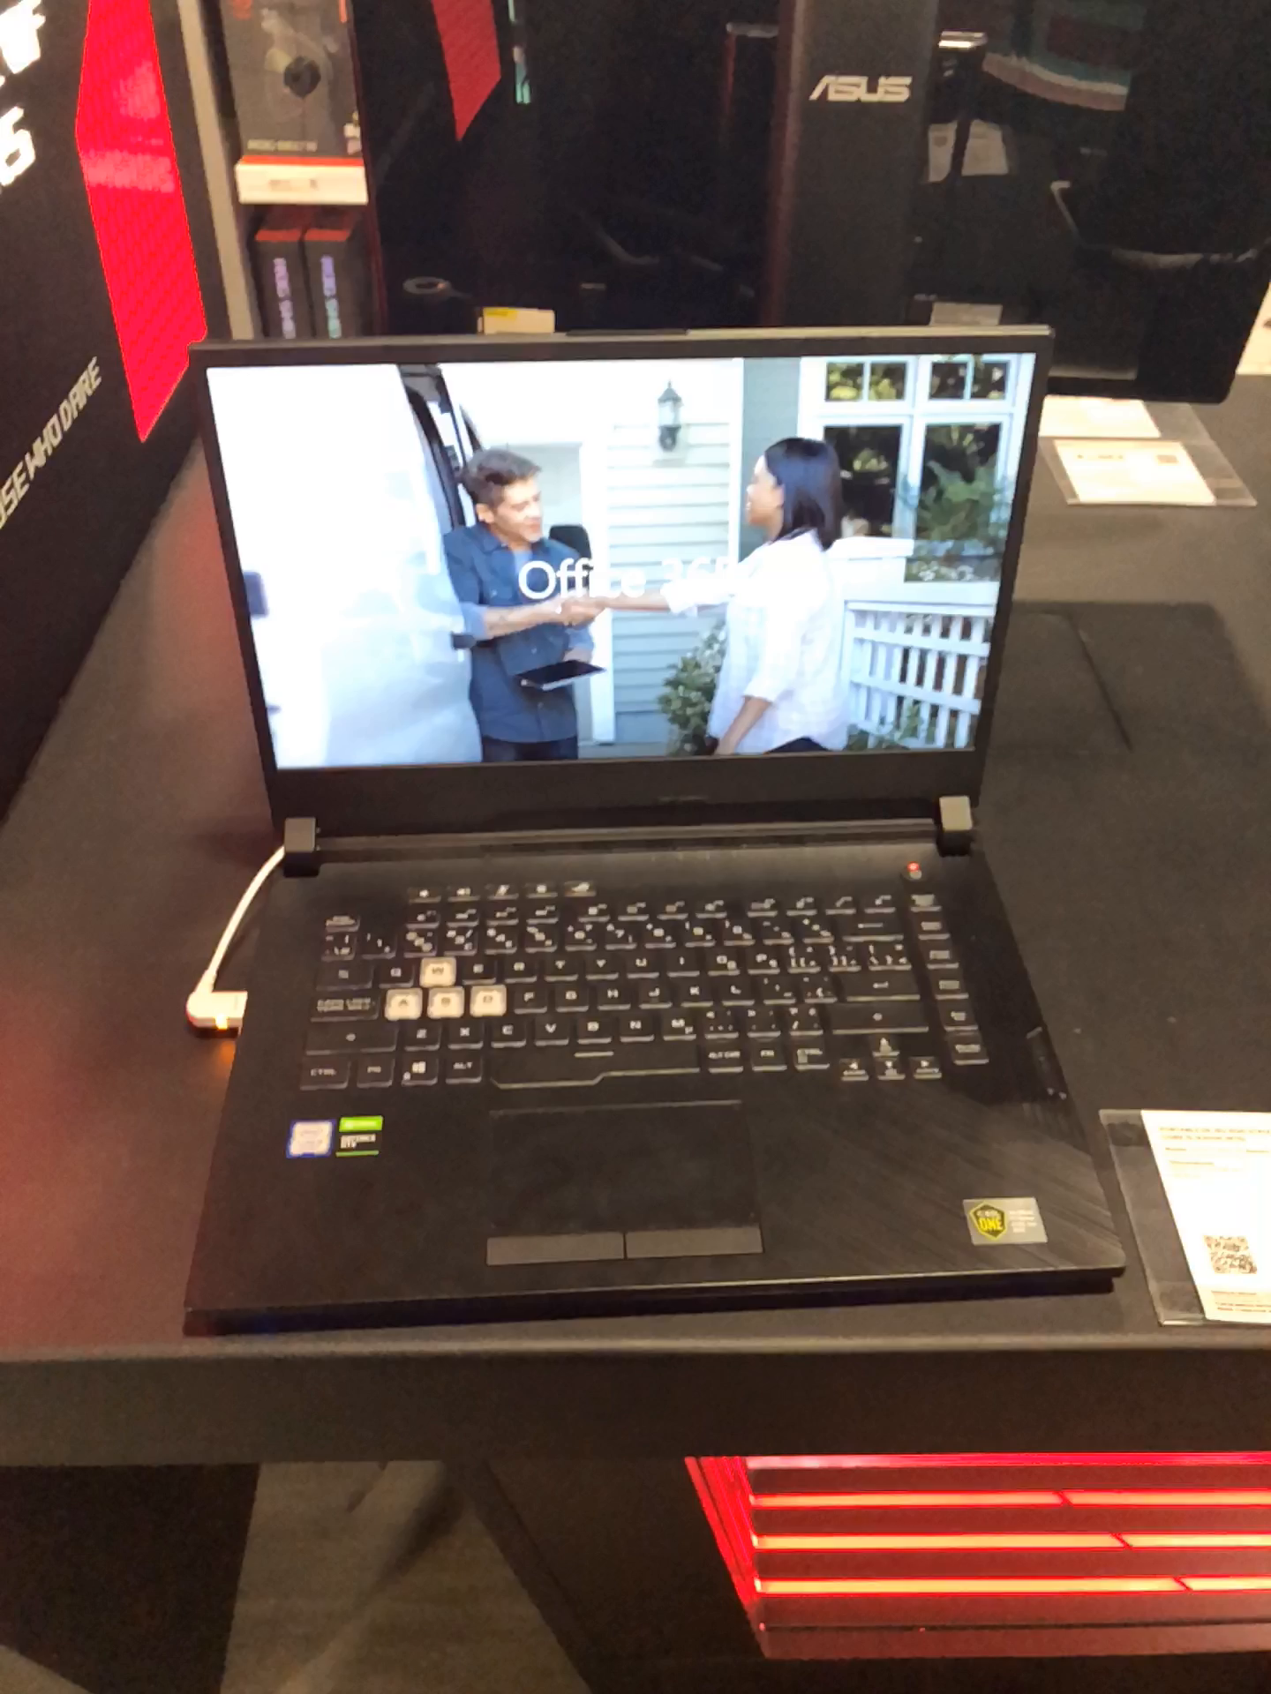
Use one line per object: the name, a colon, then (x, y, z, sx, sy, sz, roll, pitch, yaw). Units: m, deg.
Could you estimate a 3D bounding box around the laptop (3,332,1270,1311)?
laptop: (0.005, -0.018, 0.564, 0.360, 0.268, 0.276, -2, 41, -3)
